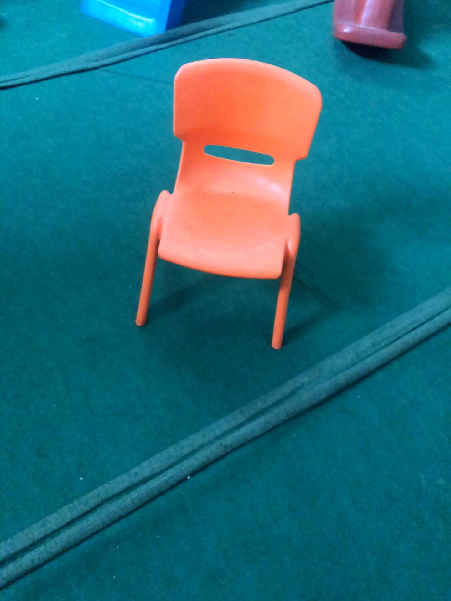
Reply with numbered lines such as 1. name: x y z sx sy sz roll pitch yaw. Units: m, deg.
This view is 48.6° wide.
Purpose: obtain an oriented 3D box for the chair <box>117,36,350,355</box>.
1. chair: 0.013 -0.194 1.067 0.360 0.479 0.391 10 56 -1
